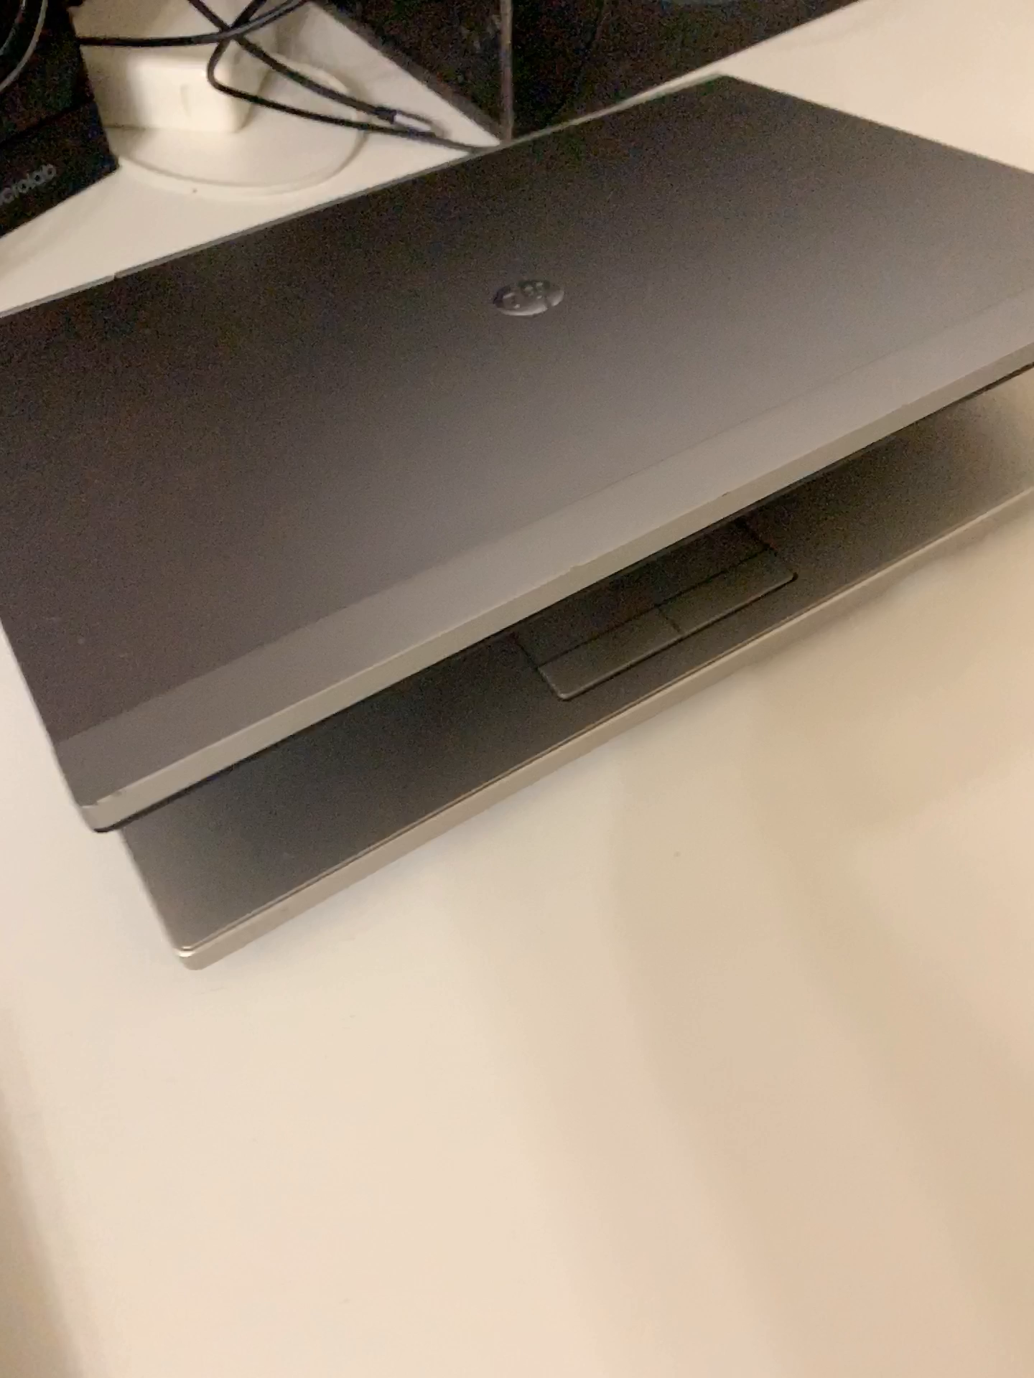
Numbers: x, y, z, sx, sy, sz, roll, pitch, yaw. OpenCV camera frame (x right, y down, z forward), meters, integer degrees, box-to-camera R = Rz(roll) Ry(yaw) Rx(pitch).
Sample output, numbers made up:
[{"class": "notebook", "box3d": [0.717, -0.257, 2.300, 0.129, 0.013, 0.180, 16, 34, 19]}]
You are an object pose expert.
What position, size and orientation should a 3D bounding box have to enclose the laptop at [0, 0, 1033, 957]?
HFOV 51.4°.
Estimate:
[{"class": "laptop", "box3d": [0.004, -0.098, 0.297, 0.304, 0.042, 0.200, -28, 65, -19]}]
